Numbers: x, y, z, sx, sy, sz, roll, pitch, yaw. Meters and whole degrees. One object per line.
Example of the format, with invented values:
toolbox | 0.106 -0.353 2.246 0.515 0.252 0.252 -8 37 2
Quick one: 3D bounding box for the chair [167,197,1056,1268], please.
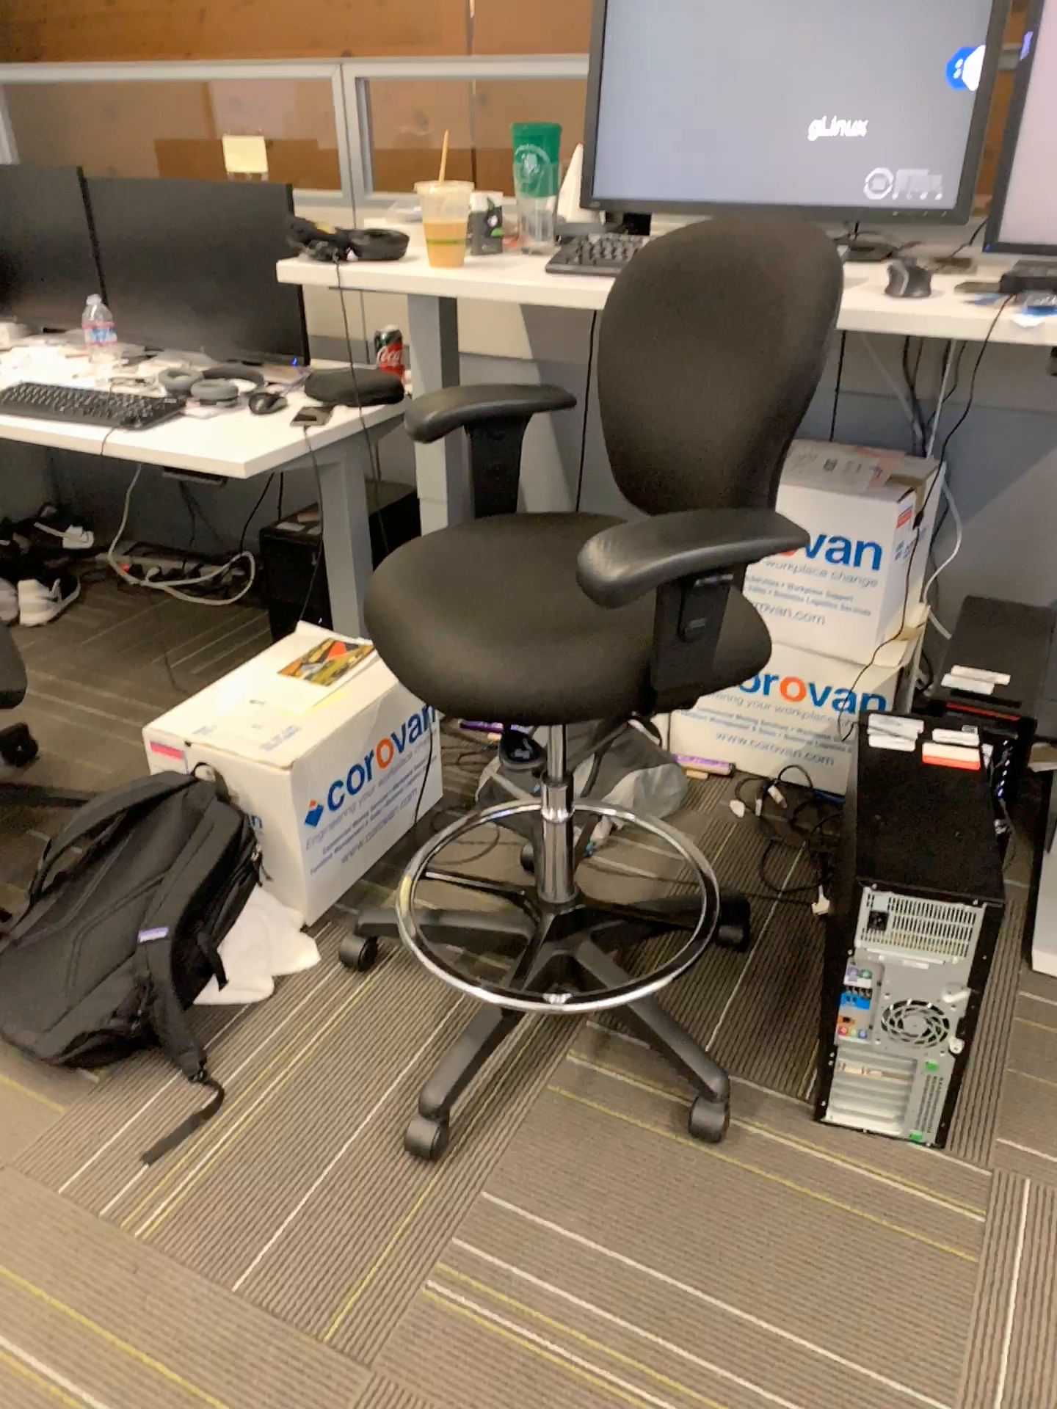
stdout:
chair | 0.065 -0.044 1.472 0.770 1.103 0.714 -15 32 -24
